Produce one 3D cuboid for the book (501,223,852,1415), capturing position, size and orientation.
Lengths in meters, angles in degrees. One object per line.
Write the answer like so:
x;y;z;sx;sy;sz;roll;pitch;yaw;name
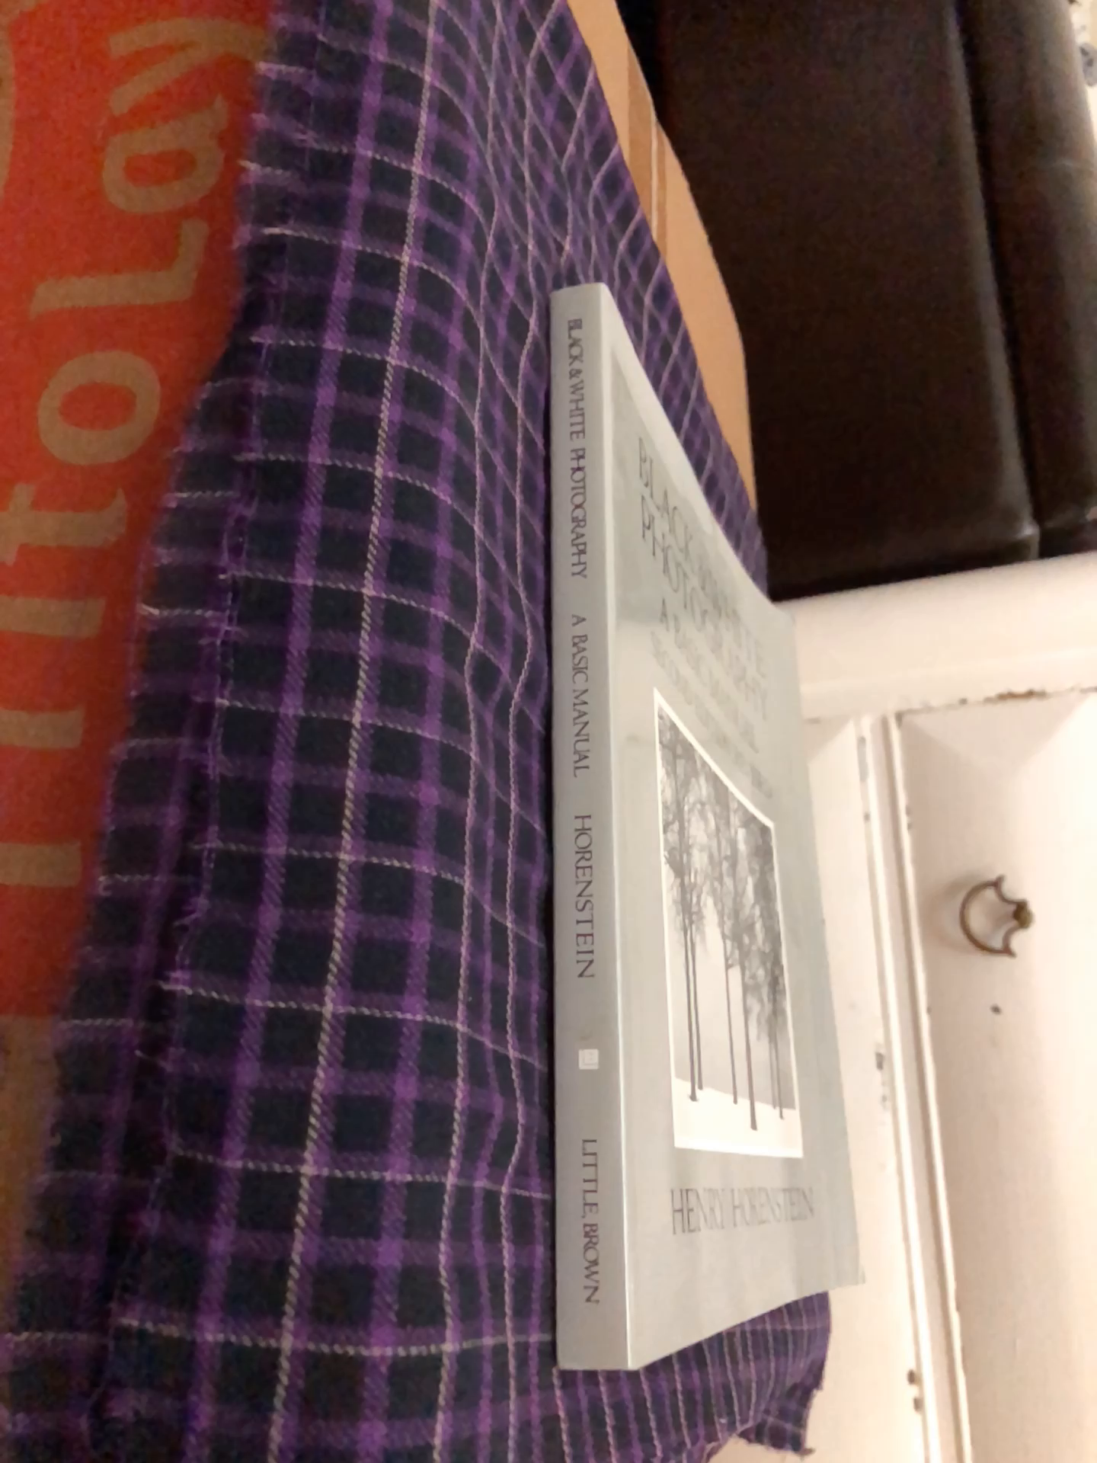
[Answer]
0.043;0.032;0.343;0.211;0.030;0.250;42;44;-61;book
